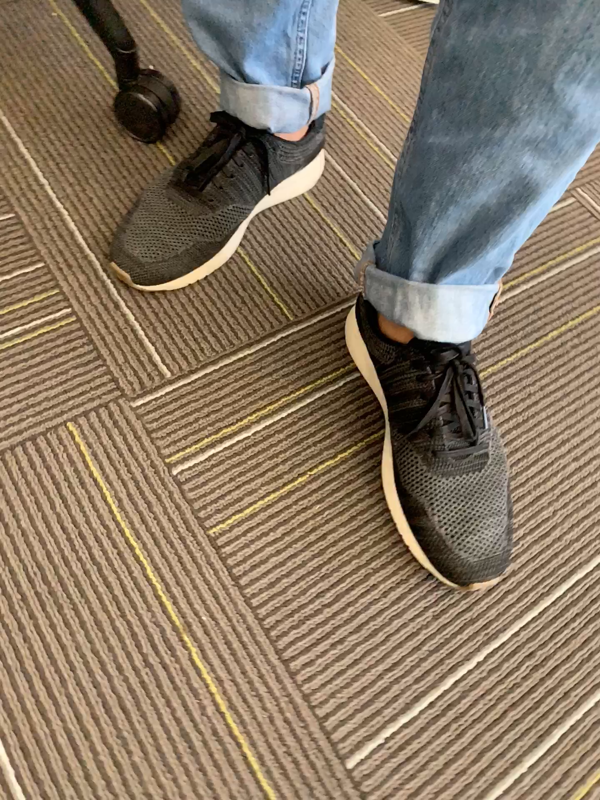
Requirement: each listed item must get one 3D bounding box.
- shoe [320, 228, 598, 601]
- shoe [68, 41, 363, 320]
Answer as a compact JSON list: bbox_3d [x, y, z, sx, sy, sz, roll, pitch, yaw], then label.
[{"bbox_3d":[0.121,0.003,0.554,0.112,0.106,0.307,-10,64,-14],"label":"shoe"},{"bbox_3d":[-0.076,-0.238,0.645,0.110,0.106,0.307,37,63,11],"label":"shoe"}]
